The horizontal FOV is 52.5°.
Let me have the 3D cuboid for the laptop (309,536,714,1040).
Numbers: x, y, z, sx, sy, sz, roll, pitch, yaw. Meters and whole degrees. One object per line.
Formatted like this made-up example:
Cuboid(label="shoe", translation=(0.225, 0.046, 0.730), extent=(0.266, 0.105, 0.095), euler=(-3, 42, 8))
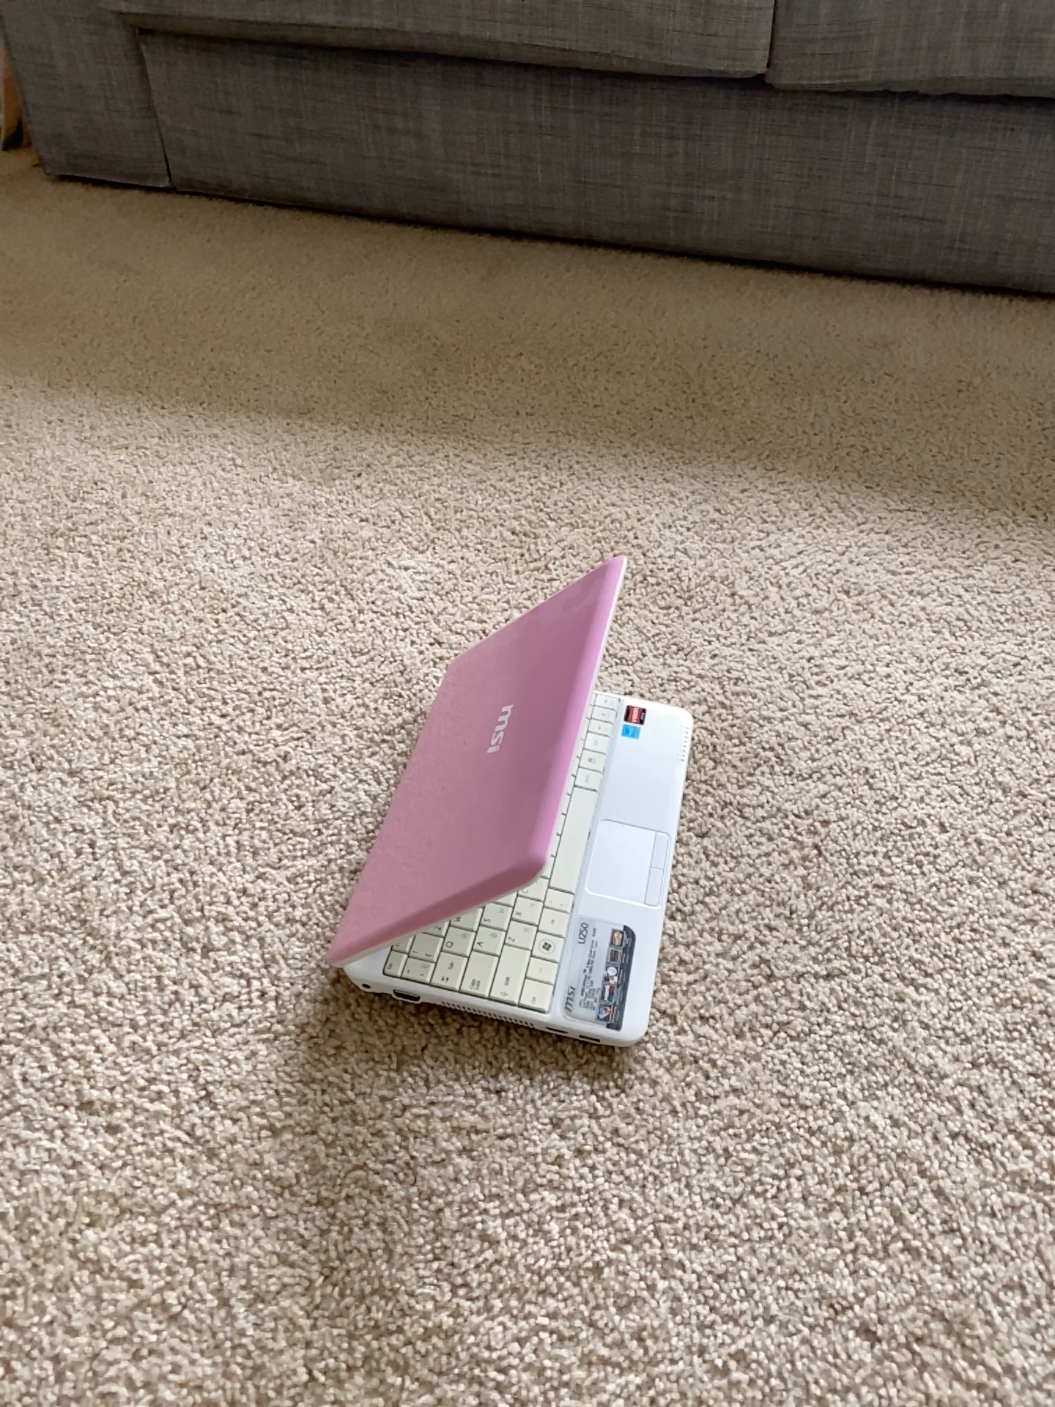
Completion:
Cuboid(label="laptop", translation=(0.008, 0.040, 0.713), extent=(0.193, 0.125, 0.291), euler=(10, 45, 7))
